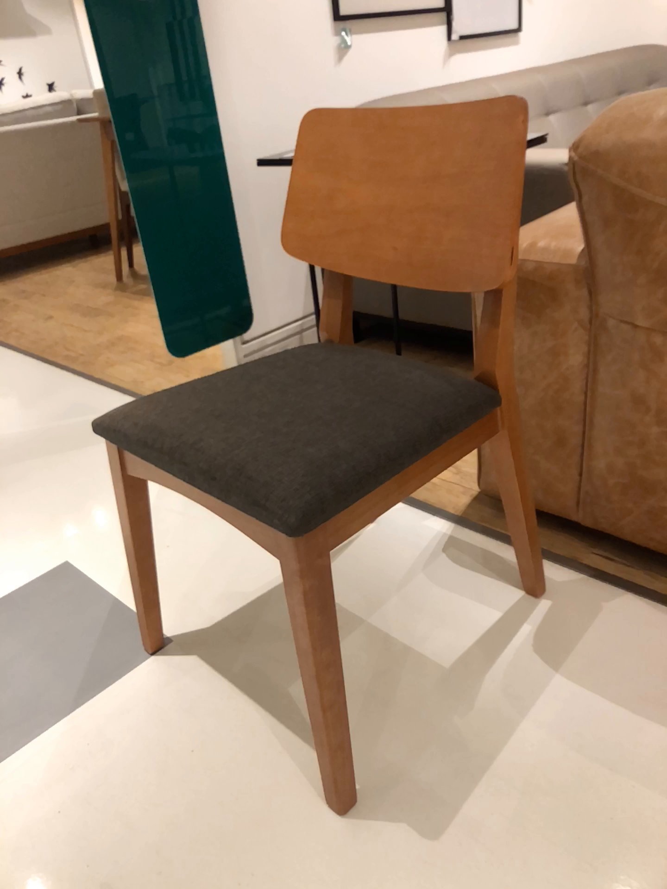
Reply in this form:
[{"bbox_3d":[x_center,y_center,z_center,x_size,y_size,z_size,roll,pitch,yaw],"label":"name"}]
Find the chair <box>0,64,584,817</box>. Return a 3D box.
[{"bbox_3d":[-0.011,-0.059,1.071,0.562,0.794,0.482,-29,34,-36],"label":"chair"}]
